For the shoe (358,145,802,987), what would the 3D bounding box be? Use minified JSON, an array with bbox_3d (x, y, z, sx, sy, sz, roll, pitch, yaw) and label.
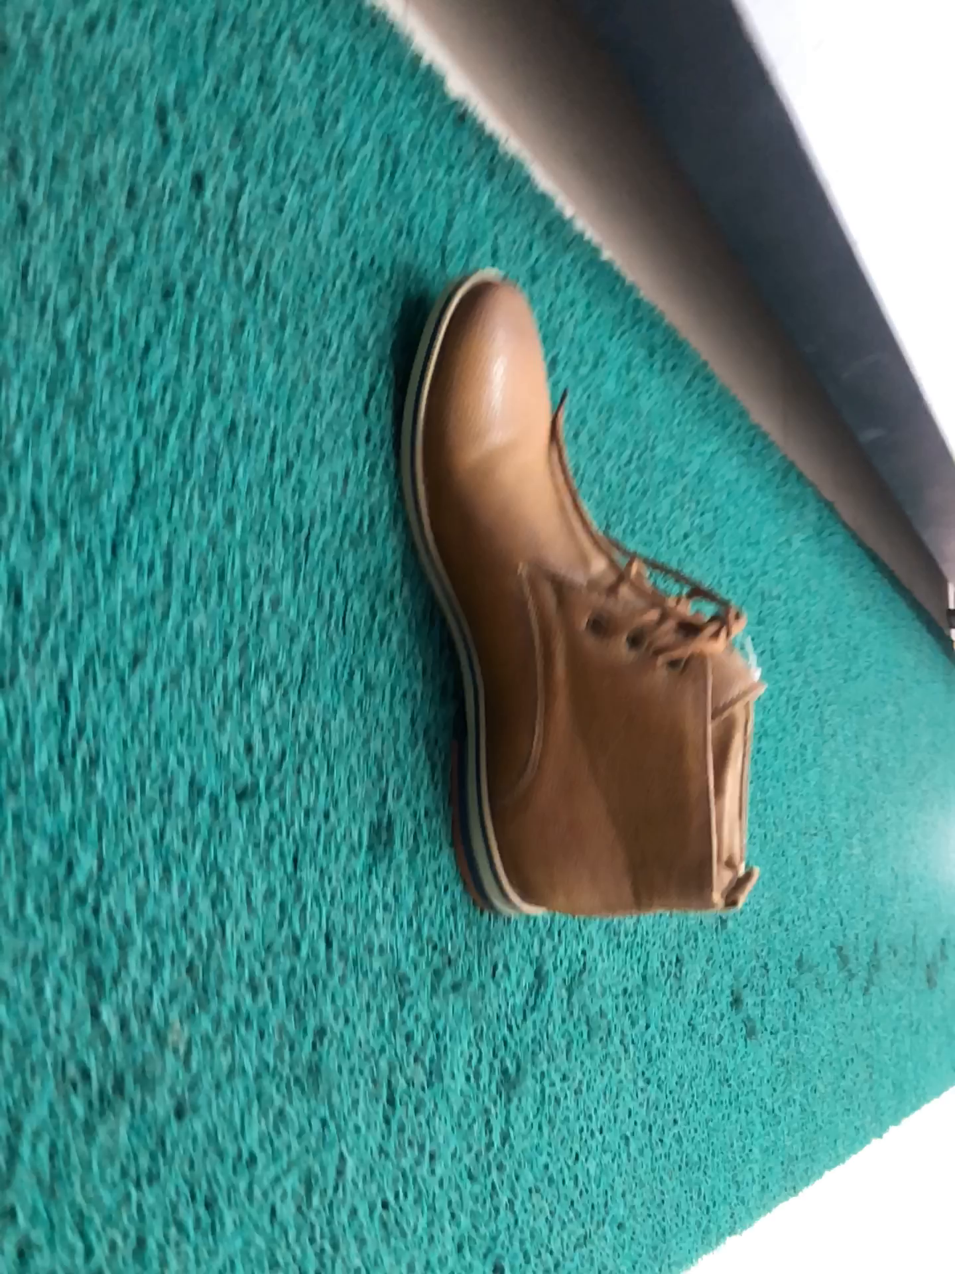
[{"bbox_3d":[0.051,-0.025,0.465,0.121,0.109,0.310,-13,95,-57],"label":"shoe"}]
